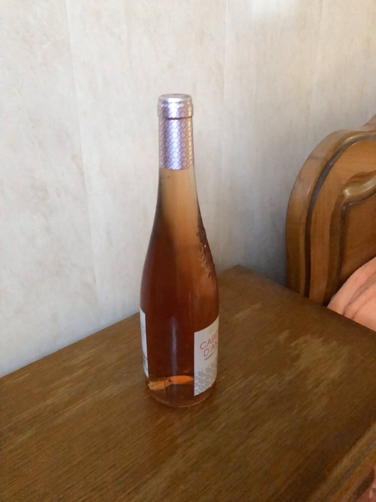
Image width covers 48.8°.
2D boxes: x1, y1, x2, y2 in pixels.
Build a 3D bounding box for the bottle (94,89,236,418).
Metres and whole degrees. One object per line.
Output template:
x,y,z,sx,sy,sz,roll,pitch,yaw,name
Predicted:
-0.016,0.007,0.400,0.090,0.298,0.081,10,27,21,bottle
